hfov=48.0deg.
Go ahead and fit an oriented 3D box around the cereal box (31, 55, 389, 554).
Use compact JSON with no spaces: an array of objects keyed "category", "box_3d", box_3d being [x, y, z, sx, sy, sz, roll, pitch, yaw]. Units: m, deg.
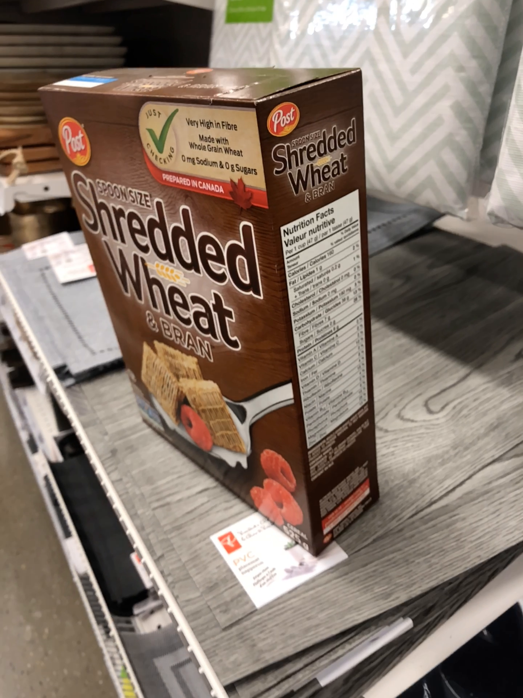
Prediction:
[{"category":"cereal box","box_3d":[-0.026,-0.034,0.367,0.070,0.259,0.201,-31,39,-30]}]
